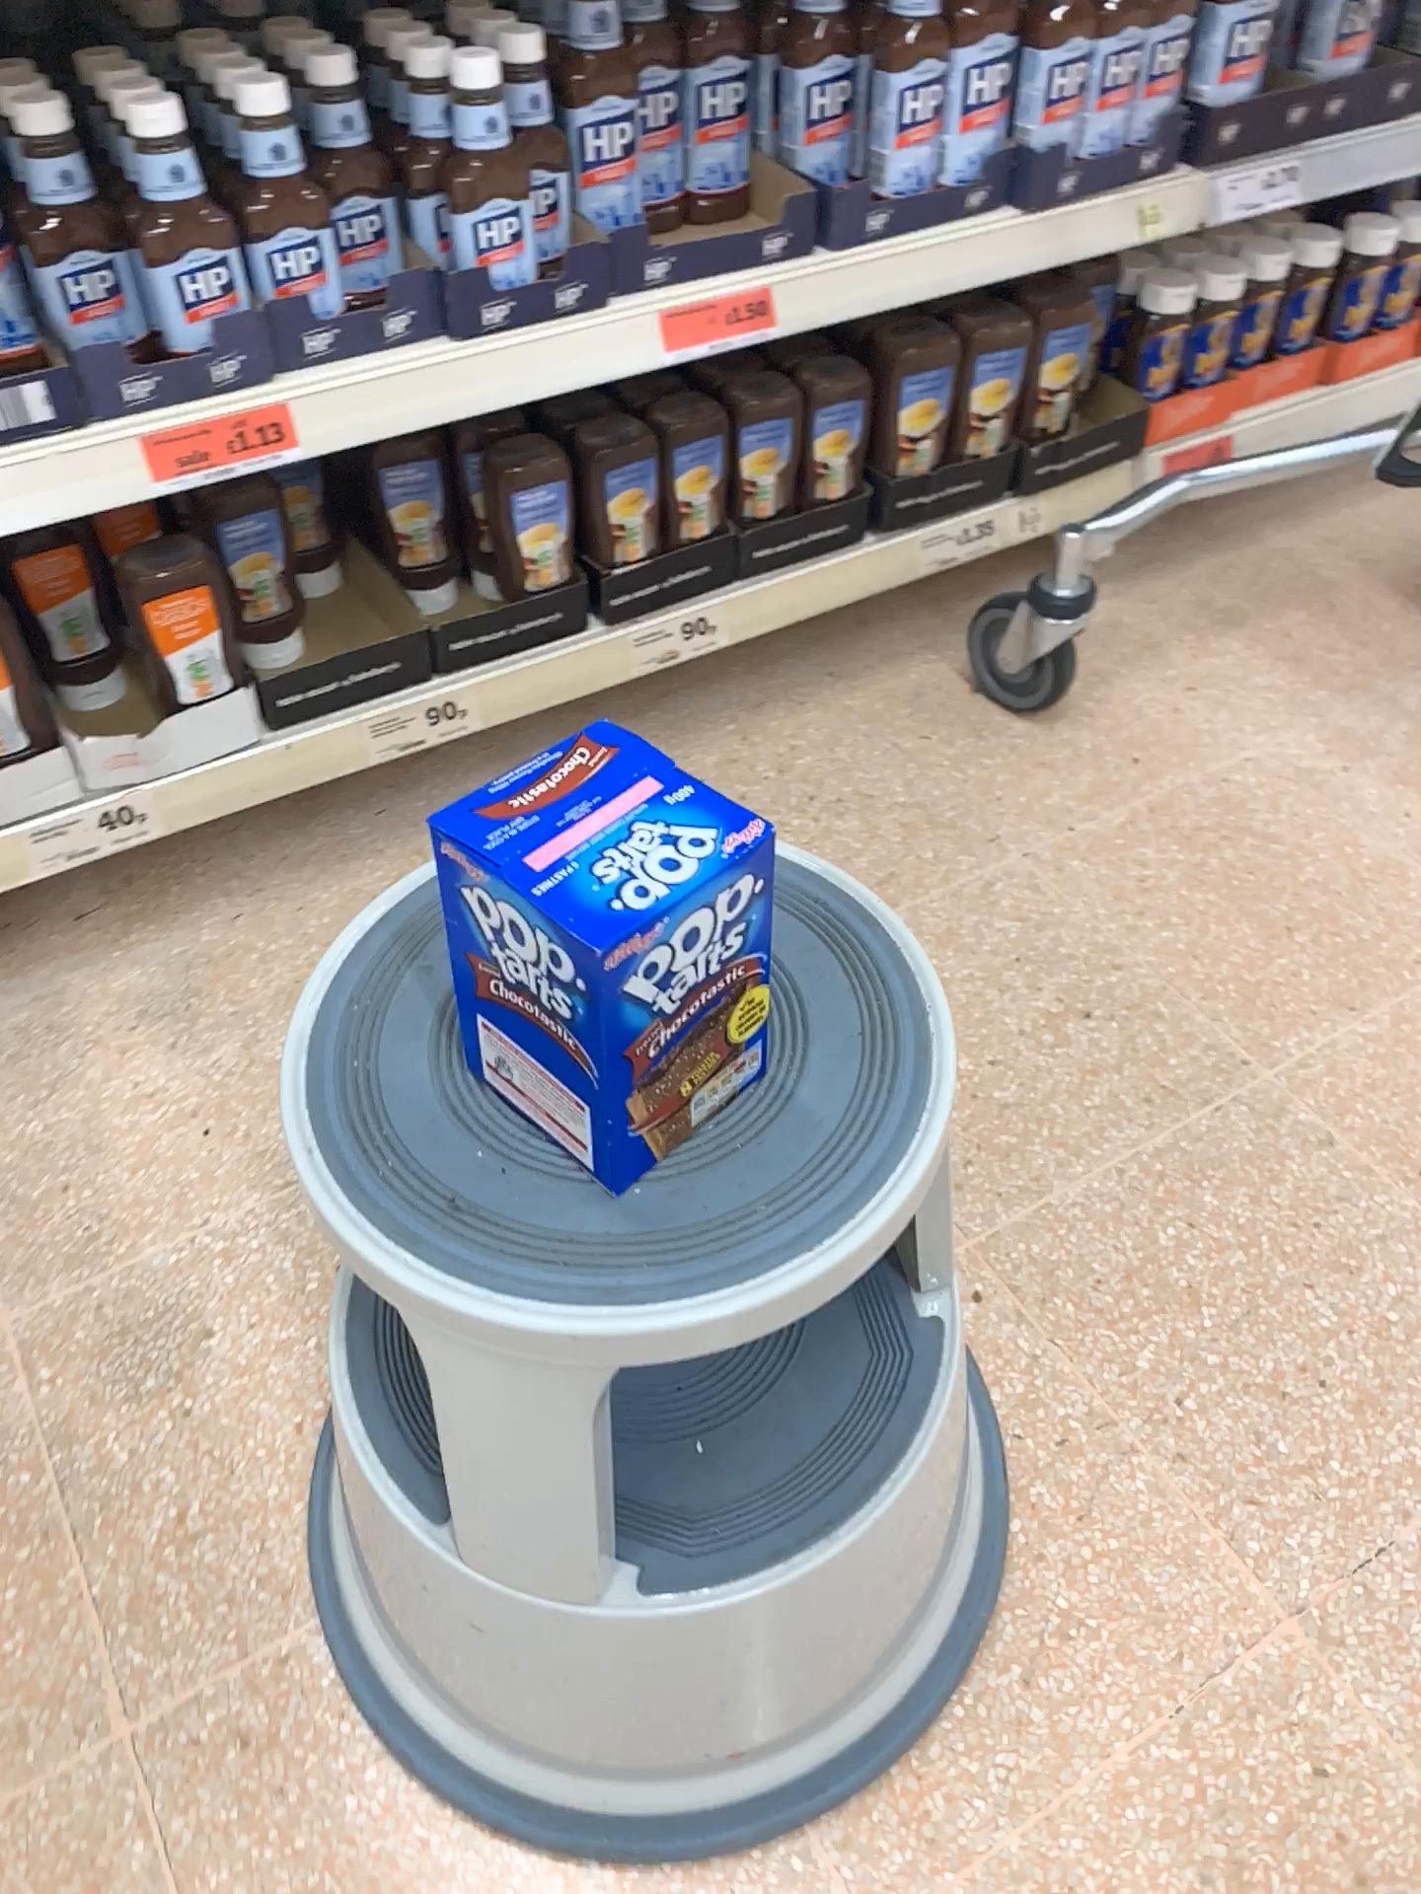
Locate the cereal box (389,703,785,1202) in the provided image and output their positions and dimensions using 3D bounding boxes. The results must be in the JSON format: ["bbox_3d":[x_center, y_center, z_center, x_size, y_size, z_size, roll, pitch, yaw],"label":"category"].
[{"bbox_3d":[-0.048,0.002,0.596,0.110,0.139,0.101,36,55,28],"label":"cereal box"}]
